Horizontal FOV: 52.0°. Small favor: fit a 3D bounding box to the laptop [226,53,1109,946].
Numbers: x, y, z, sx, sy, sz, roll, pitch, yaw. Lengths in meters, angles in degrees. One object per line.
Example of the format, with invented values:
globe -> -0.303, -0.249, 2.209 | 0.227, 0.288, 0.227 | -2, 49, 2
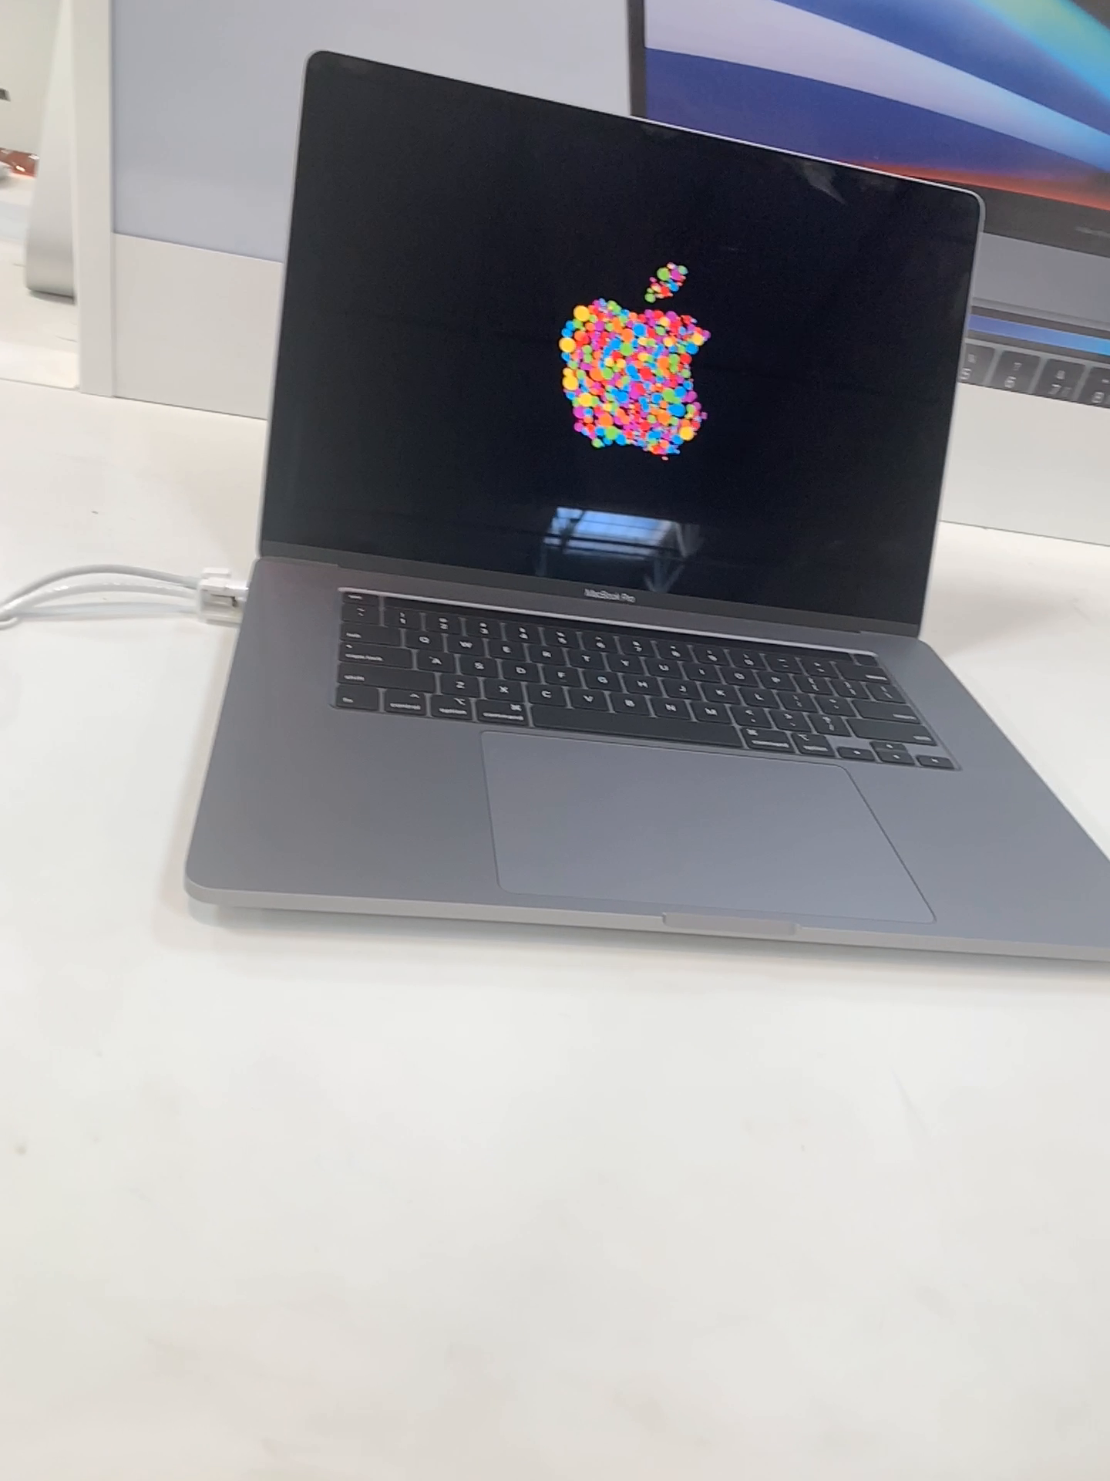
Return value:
laptop -> 0.066, -0.120, 0.464 | 0.341, 0.203, 0.347 | 5, 32, -13
